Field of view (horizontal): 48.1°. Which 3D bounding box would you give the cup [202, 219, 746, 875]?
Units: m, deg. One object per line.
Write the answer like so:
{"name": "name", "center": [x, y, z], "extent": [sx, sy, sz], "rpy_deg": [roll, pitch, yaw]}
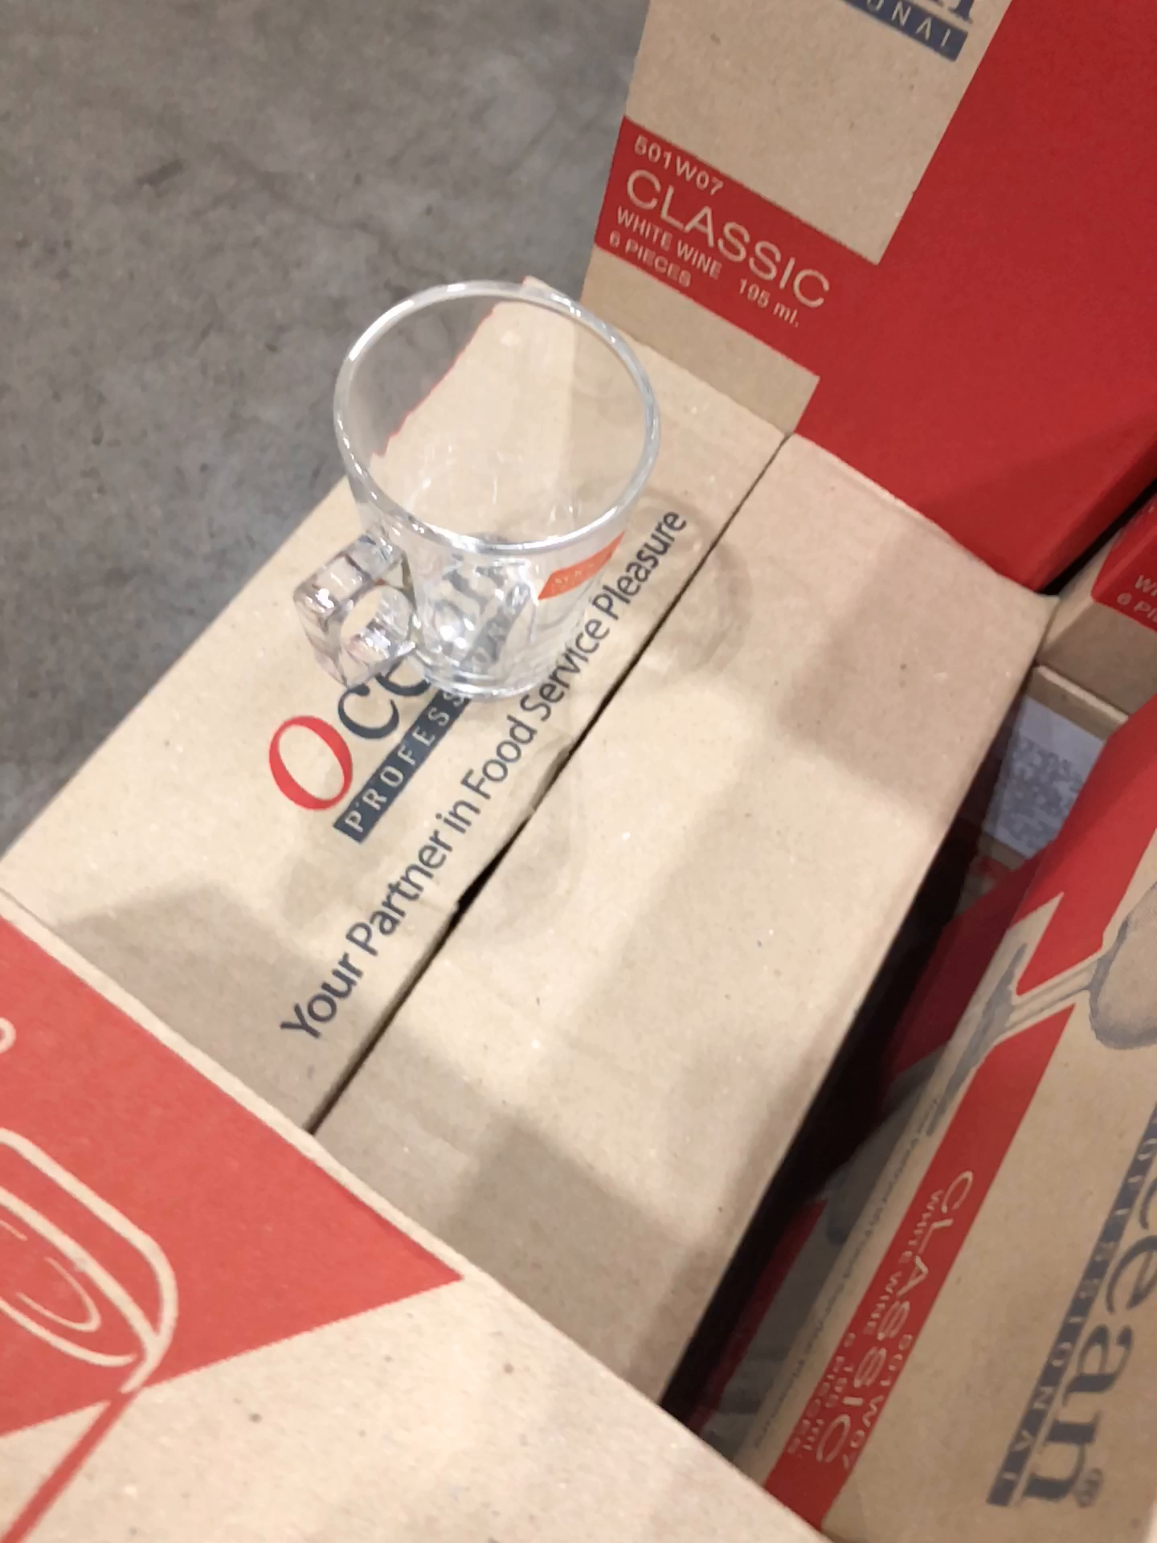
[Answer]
{"name": "cup", "center": [-0.023, -0.039, 0.263], "extent": [0.060, 0.100, 0.070], "rpy_deg": [42, 66, 10]}
